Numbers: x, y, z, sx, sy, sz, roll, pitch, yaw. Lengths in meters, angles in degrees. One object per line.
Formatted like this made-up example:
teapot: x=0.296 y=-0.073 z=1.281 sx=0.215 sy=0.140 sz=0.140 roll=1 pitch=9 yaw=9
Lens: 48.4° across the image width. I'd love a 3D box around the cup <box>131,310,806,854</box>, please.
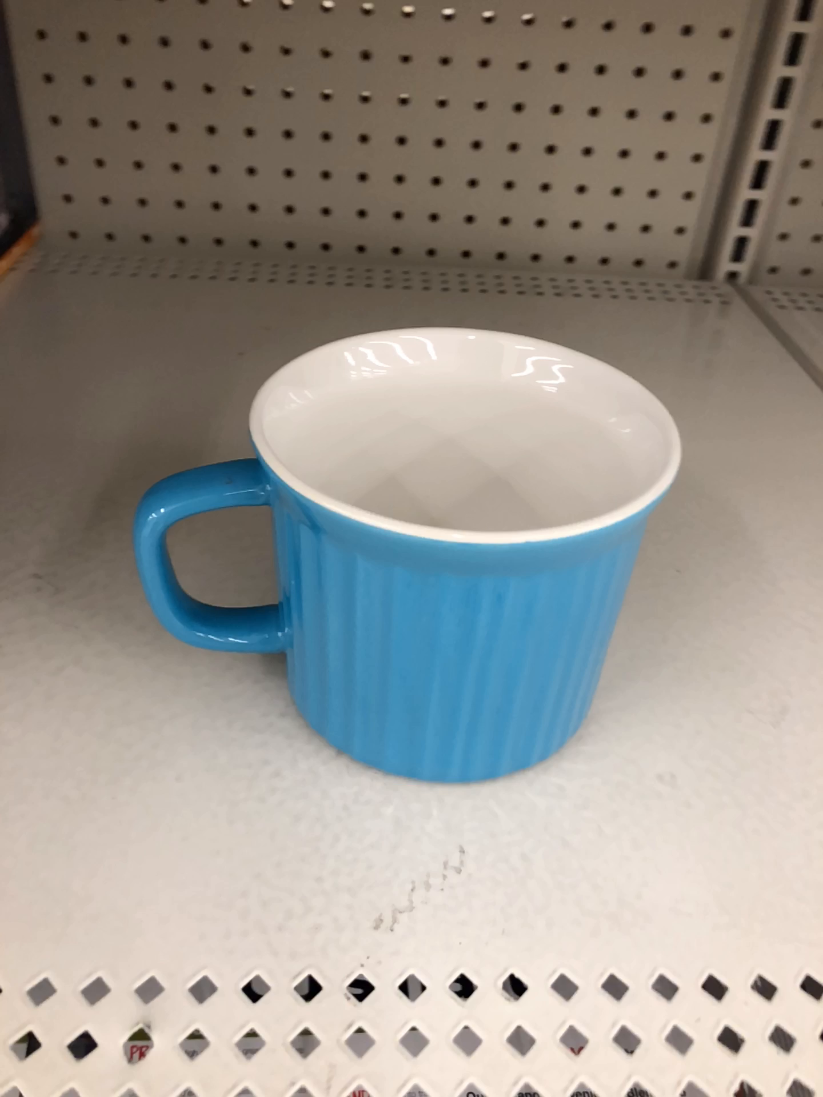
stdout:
cup: x=0.003 y=-0.001 z=0.286 sx=0.161 sy=0.093 sz=0.126 roll=-6 pitch=38 yaw=-14
